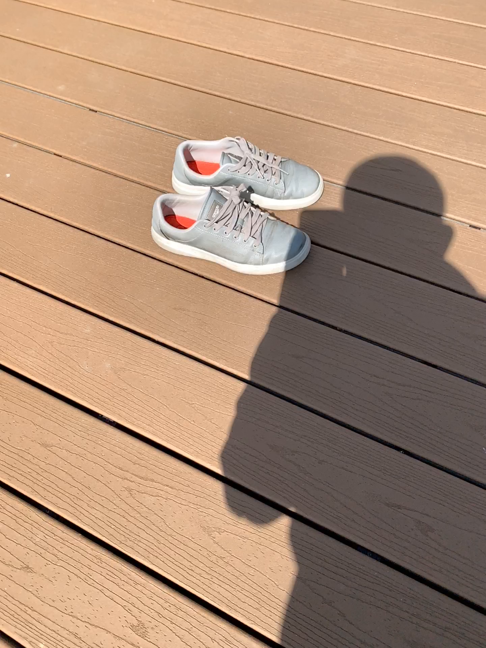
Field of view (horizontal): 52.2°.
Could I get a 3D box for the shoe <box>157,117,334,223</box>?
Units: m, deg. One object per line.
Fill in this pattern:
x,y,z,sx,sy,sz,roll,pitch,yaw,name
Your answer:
0.008,-0.283,0.908,0.290,0.100,0.120,9,63,9,shoe

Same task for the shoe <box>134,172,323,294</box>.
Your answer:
-0.021,-0.159,0.859,0.290,0.100,0.120,13,63,11,shoe
